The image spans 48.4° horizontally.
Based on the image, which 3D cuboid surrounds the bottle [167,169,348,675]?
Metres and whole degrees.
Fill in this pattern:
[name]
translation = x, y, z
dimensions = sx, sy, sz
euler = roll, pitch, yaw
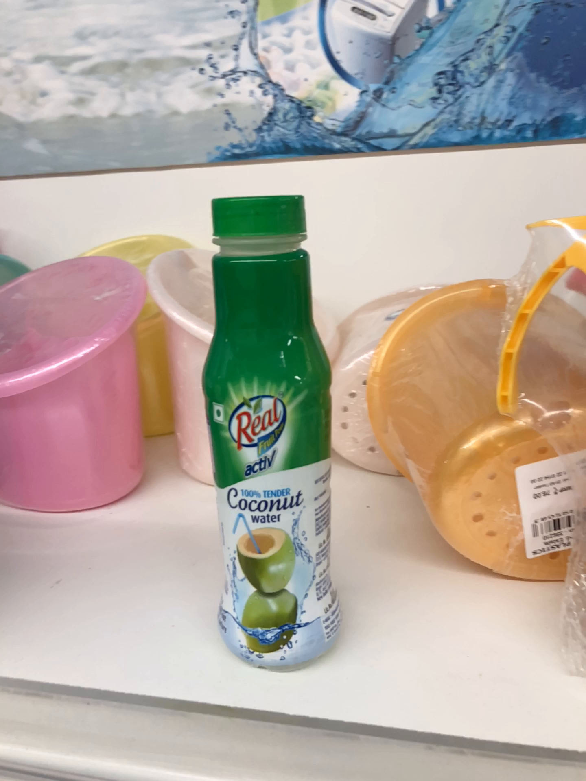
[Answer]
[bottle]
translation = -0.007, 0.014, 0.243
dimensions = 0.050, 0.179, 0.050
euler = -3, 17, 1
